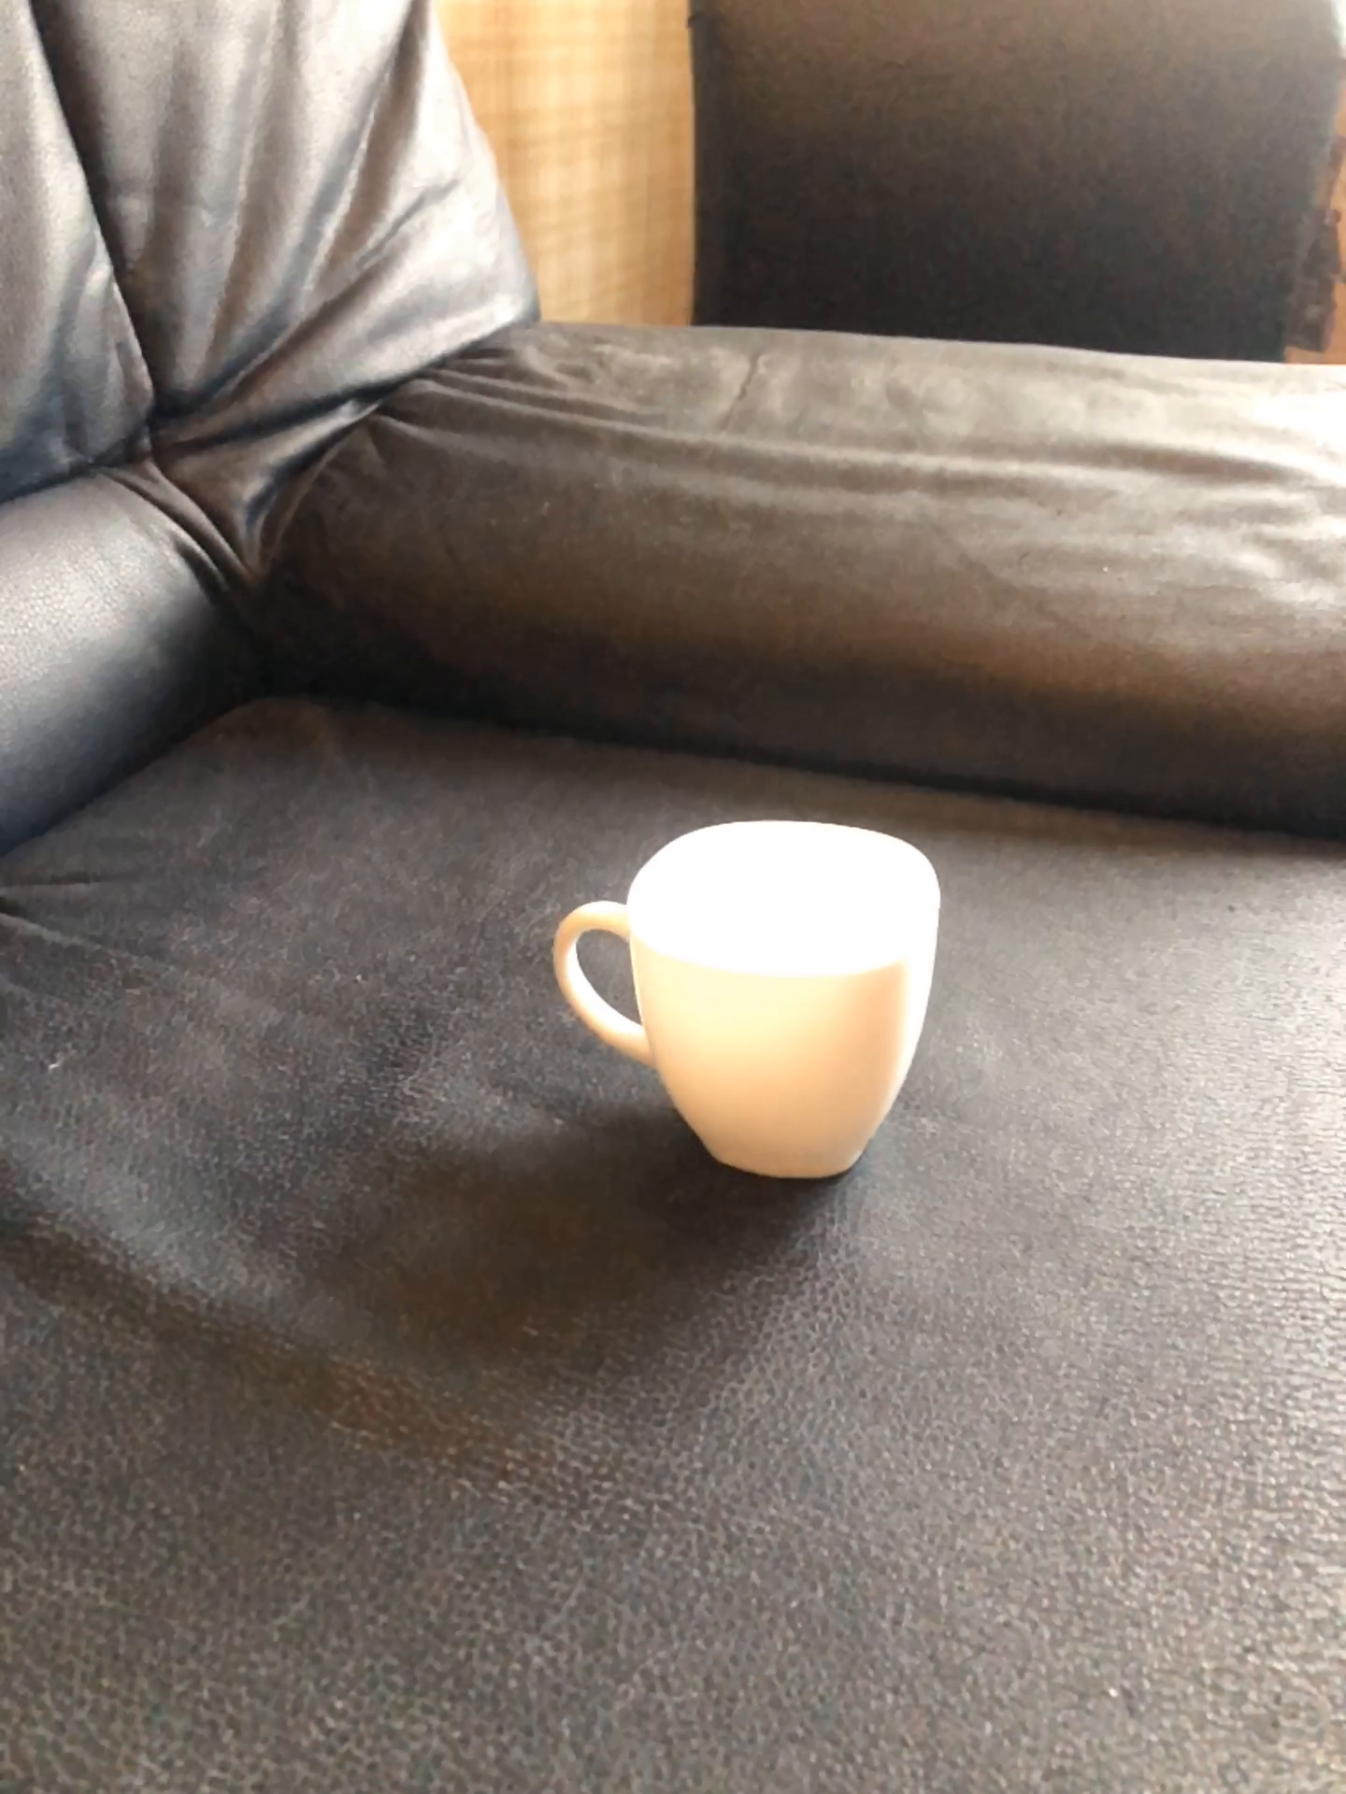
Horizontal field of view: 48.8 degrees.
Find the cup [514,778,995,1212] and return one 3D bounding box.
[{"bbox_3d":[0.024,0.021,0.387,0.101,0.063,0.080,10,31,18],"label":"cup"}]
